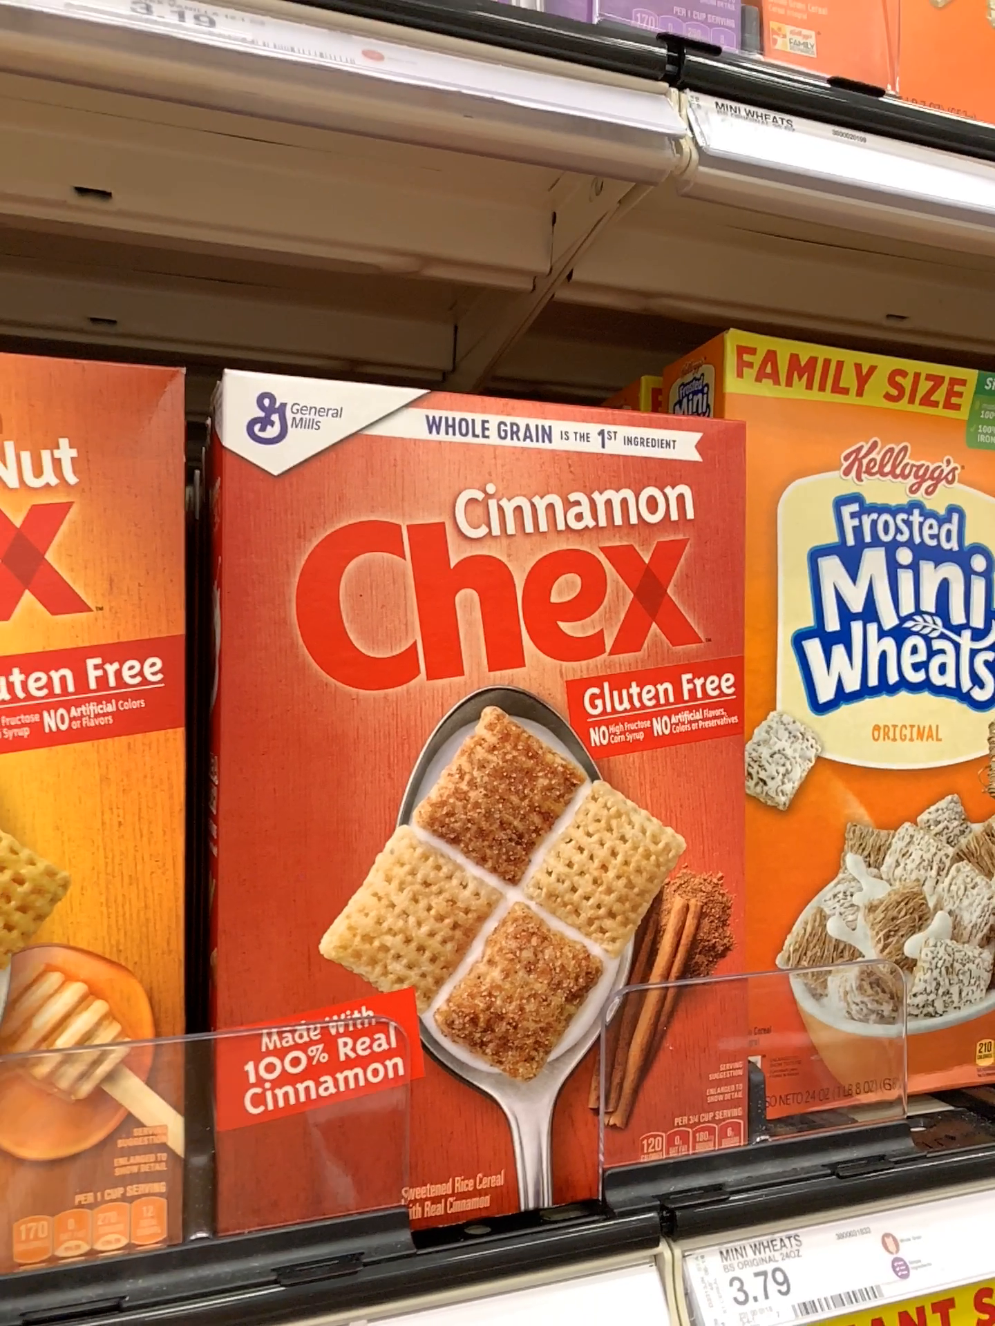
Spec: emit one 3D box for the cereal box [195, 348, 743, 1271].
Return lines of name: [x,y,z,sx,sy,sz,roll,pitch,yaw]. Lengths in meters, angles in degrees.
cereal box: [-0.009,0.047,0.397,0.200,0.300,0.060,1,-2,-19]

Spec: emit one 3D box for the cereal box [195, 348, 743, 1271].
cereal box: [-0.009,0.047,0.397,0.200,0.300,0.060,1,-2,-19]
